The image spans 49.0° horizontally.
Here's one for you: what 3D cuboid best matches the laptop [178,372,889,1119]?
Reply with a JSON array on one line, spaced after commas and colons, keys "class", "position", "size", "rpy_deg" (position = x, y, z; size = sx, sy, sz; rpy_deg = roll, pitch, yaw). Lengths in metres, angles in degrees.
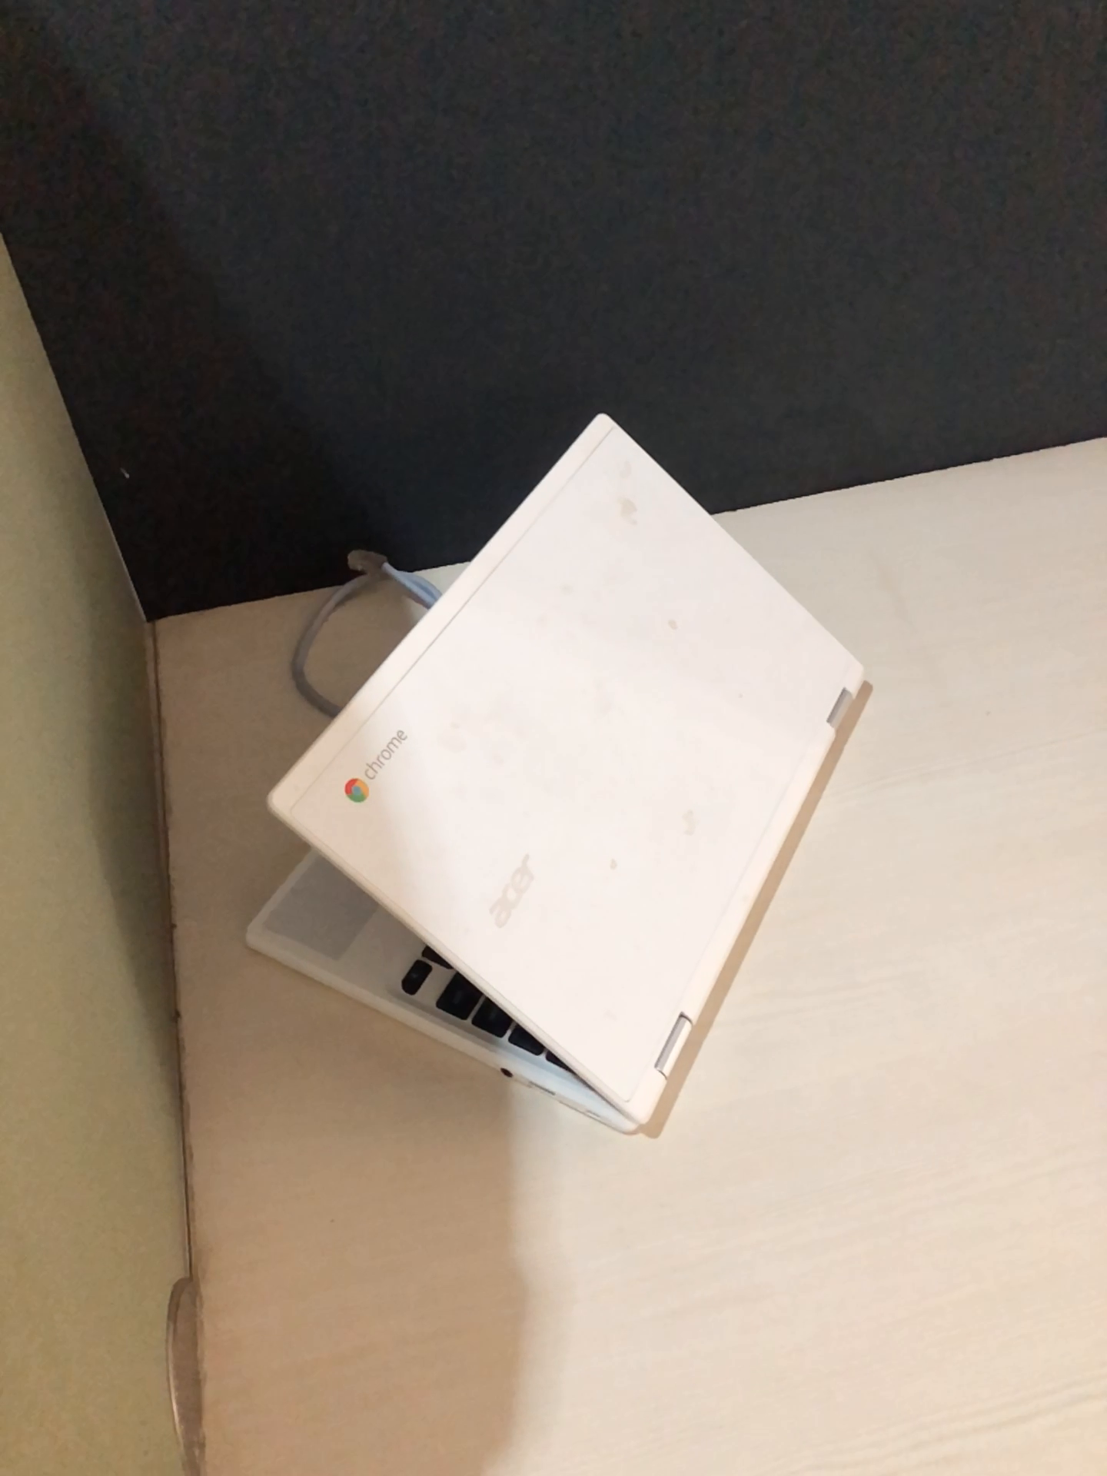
[{"class": "laptop", "position": [0.010, -0.018, 0.550], "size": [0.187, 0.114, 0.286], "rpy_deg": [21, 52, 18]}]
